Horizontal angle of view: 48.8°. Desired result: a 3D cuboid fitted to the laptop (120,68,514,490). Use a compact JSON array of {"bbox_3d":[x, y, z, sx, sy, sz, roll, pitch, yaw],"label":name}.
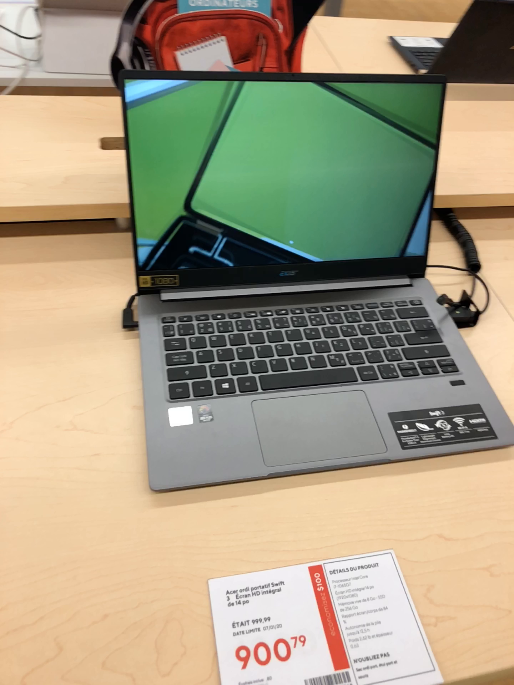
[{"bbox_3d":[0.054,-0.077,0.491,0.315,0.178,0.312,-4,48,-12],"label":"laptop"}]
